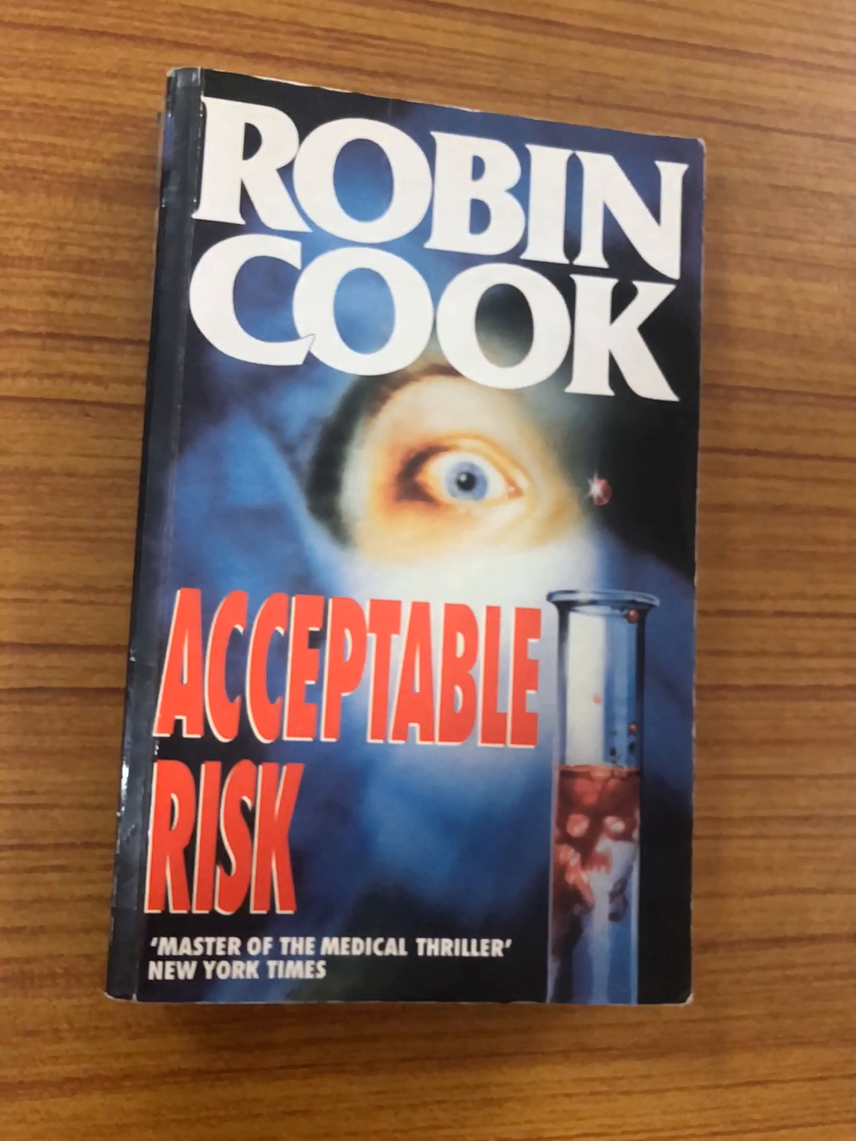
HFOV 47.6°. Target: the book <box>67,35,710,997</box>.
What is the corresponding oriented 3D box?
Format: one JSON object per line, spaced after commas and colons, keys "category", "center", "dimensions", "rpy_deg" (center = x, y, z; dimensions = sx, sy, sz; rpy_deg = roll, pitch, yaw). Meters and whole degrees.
{"category": "book", "center": [-0.006, -0.007, 0.200], "dimensions": [0.110, 0.040, 0.170], "rpy_deg": [4, 86, -10]}
